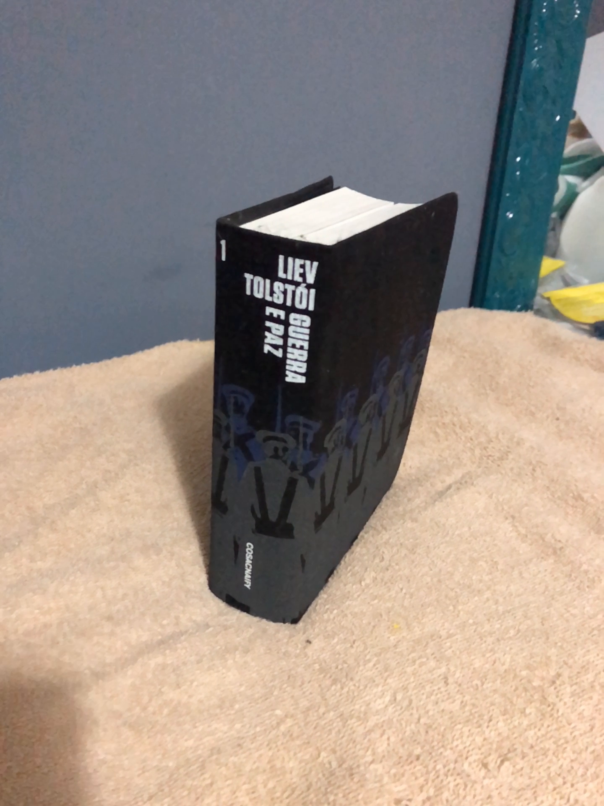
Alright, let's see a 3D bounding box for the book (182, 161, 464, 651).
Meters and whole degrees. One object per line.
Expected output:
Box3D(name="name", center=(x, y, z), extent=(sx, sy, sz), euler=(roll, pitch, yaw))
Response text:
Box3D(name="book", center=(0.013, -0.009, 0.321), extent=(0.060, 0.179, 0.151), euler=(17, 31, 21))
